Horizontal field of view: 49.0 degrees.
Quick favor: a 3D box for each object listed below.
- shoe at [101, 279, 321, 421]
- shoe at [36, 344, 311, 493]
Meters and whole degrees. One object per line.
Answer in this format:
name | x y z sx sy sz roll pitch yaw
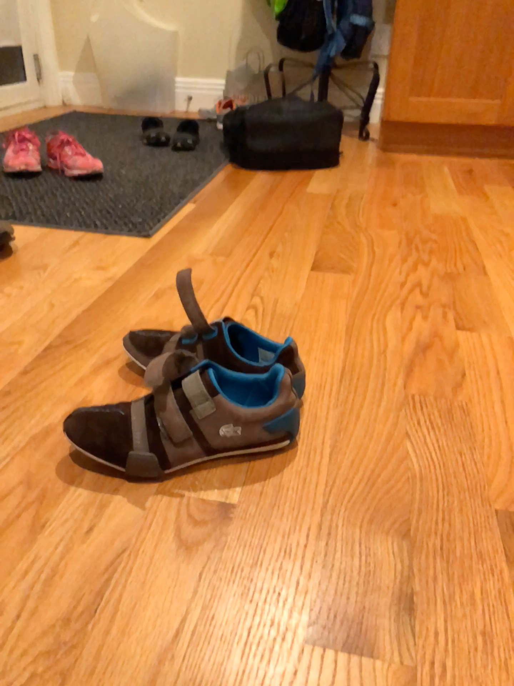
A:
shoe | -0.059 0.001 0.726 0.255 0.091 0.103 13 31 19
shoe | -0.083 0.074 0.593 0.255 0.091 0.103 -3 30 -9
